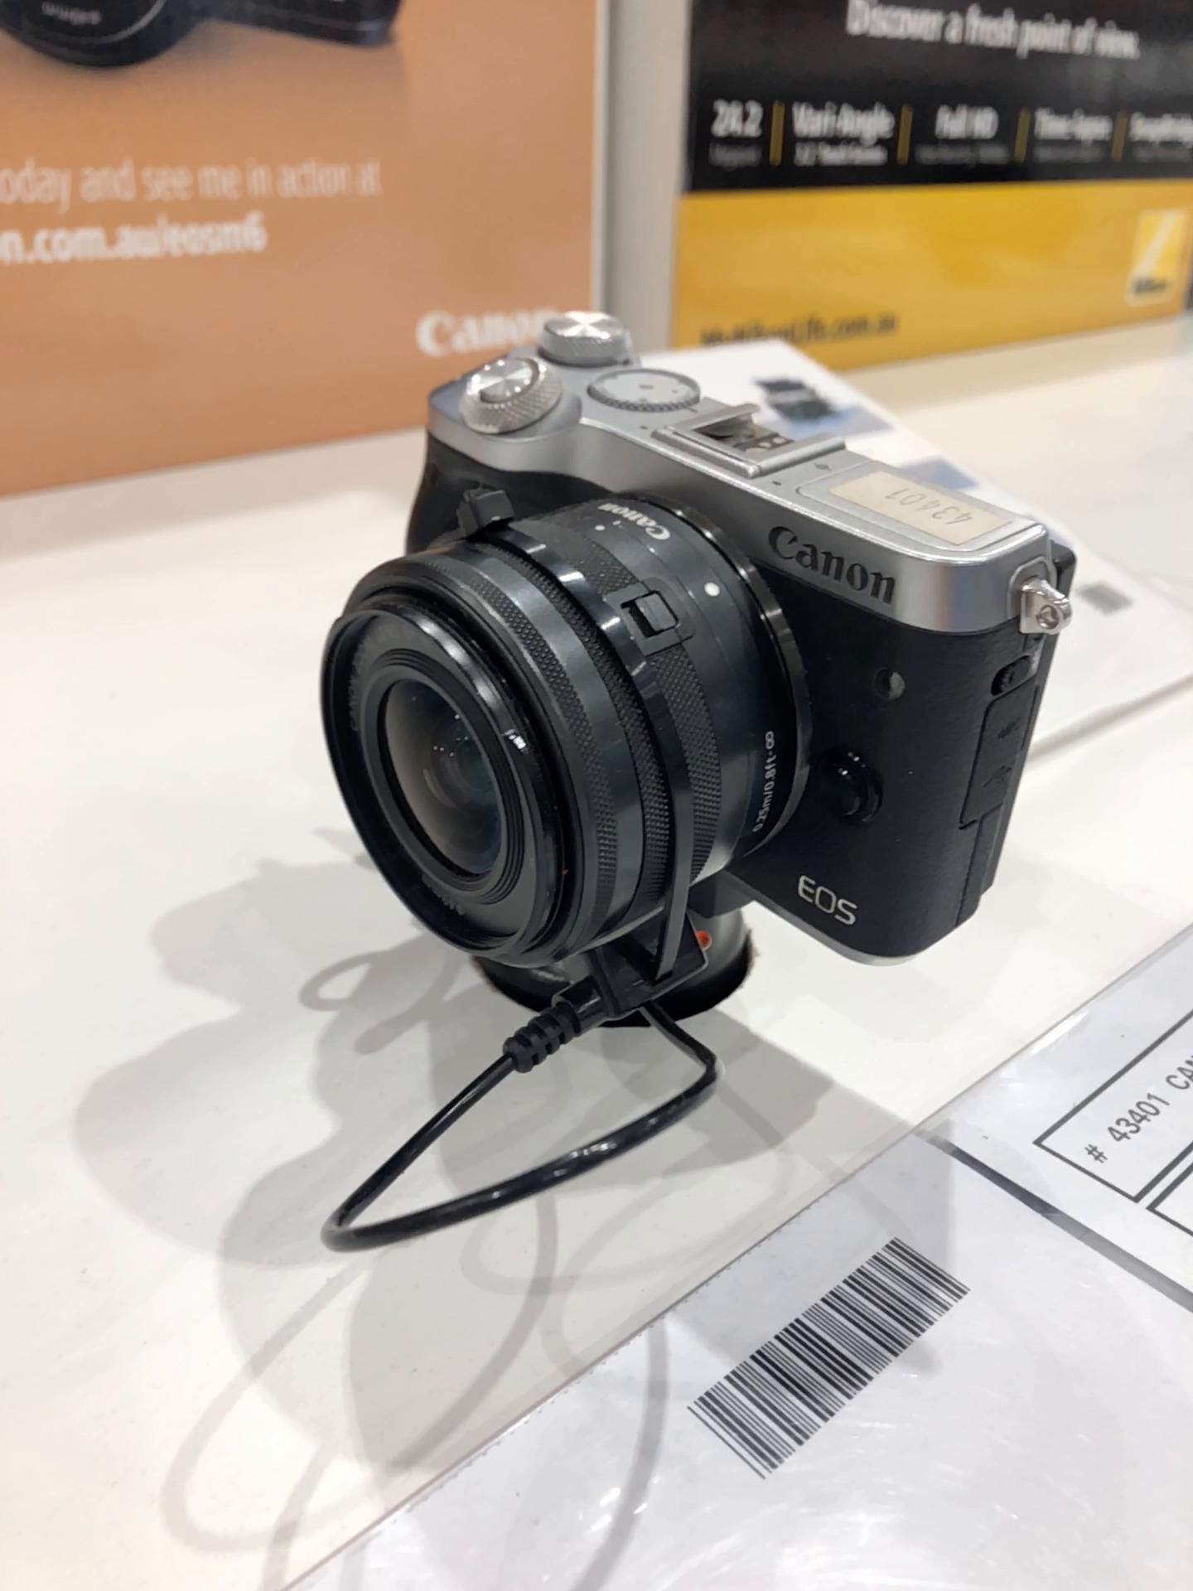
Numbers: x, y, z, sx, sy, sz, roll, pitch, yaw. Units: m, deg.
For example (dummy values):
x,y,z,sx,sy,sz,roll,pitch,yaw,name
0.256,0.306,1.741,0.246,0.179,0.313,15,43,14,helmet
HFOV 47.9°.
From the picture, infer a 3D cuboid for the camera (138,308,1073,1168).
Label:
x,y,z,sx,sy,sz,roll,pitch,yaw,name
-0.003,-0.020,0.207,0.083,0.075,0.103,-25,41,-35,camera
